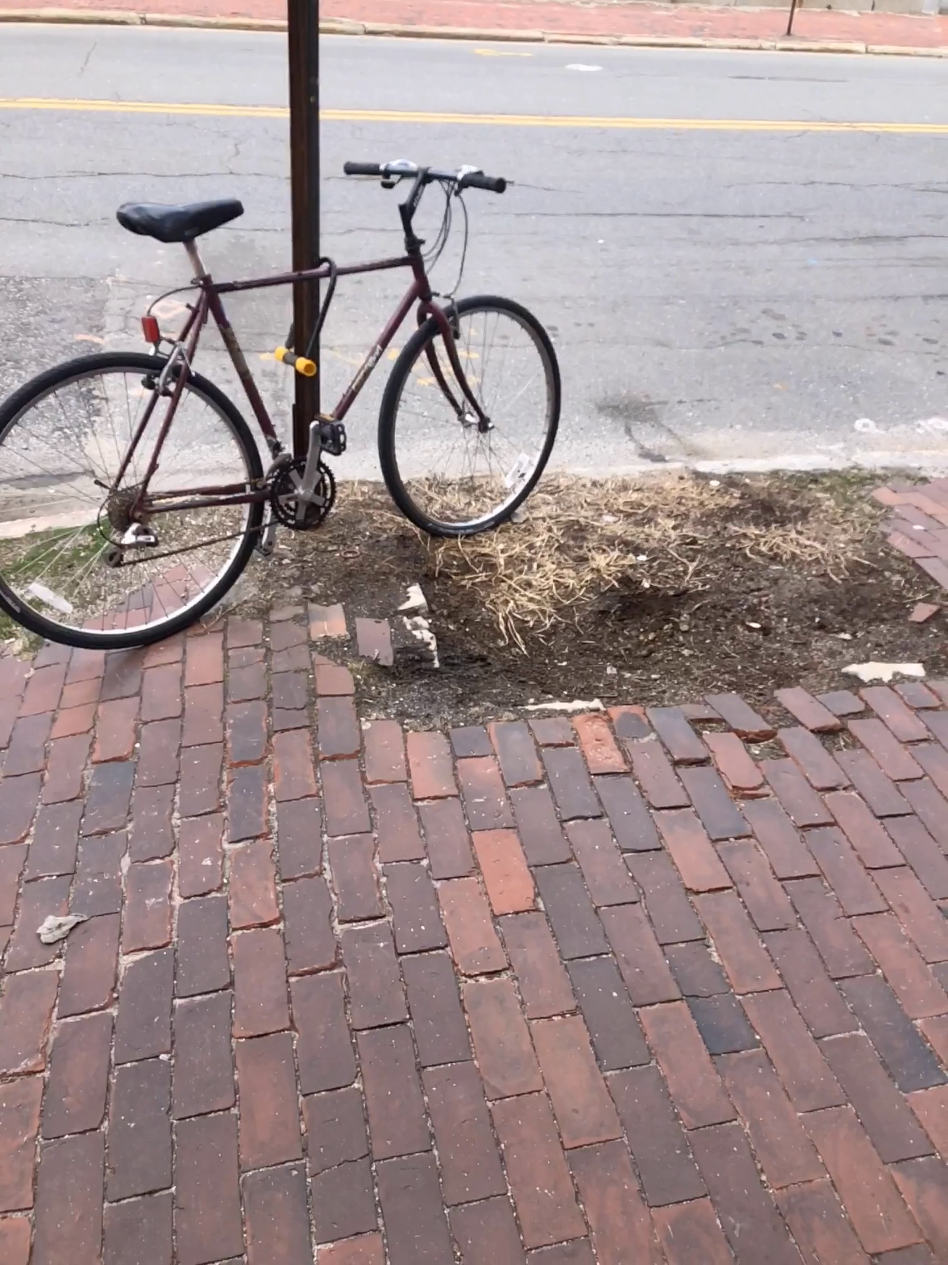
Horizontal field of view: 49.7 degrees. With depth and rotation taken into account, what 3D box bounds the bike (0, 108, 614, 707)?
[{"bbox_3d":[-0.469,-0.680,2.605,1.689,0.961,0.556,-25,44,-33],"label":"bike"}]
